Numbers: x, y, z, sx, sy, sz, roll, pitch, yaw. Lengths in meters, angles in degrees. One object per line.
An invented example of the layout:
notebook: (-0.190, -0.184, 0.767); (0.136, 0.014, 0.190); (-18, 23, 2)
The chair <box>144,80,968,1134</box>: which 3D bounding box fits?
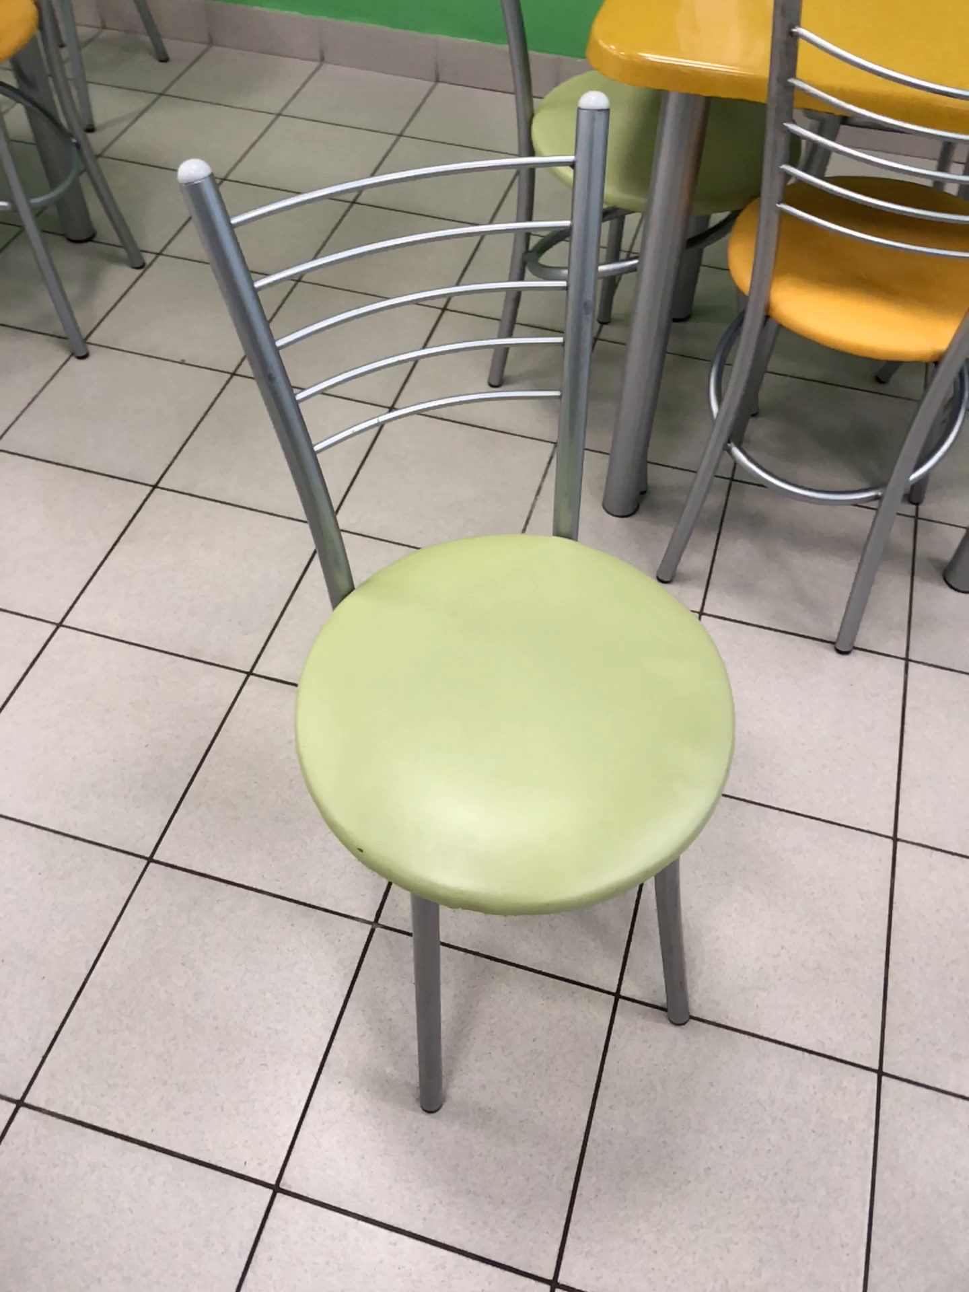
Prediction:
chair: (0.011, 0.039, 0.974); (0.374, 0.826, 0.481); (-15, 54, -12)
